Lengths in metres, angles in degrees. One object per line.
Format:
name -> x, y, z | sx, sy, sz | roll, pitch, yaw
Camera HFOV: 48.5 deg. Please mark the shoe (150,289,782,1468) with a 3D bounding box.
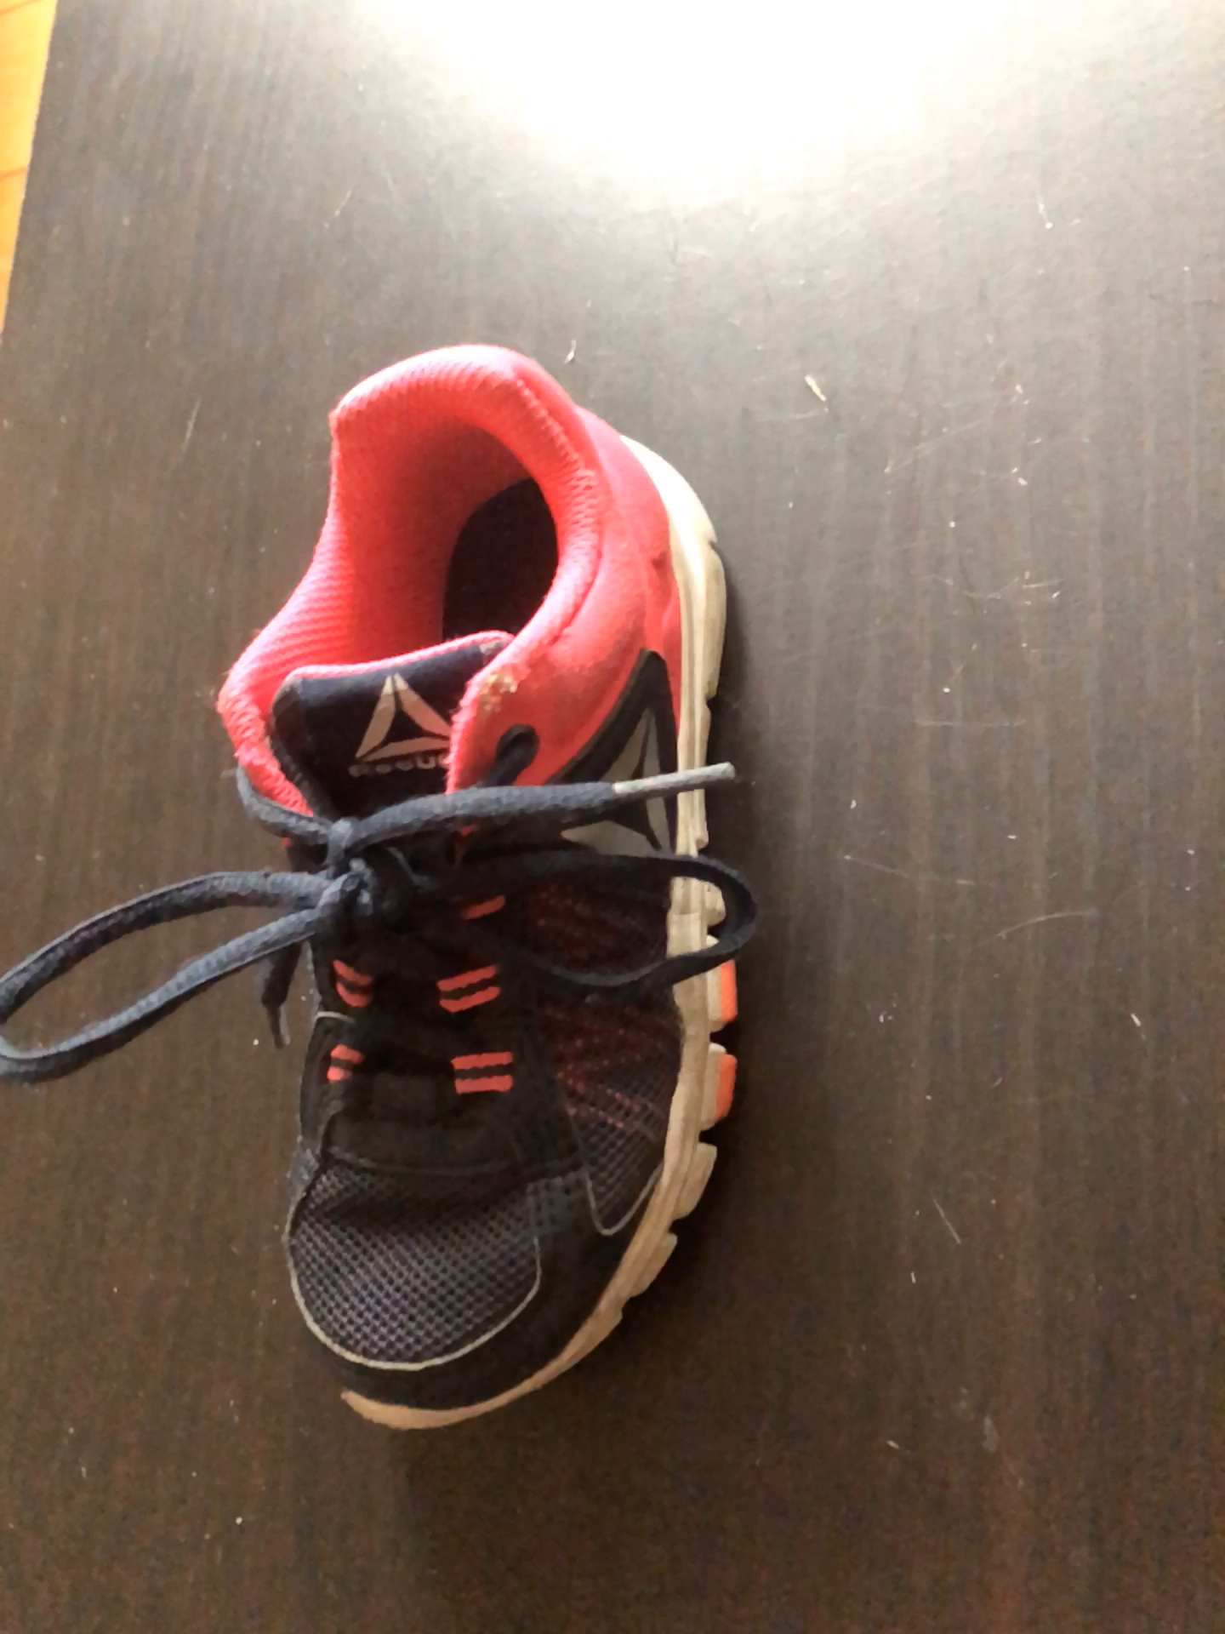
shoe -> -0.020, 0.009, 0.266 | 0.080, 0.070, 0.193 | -1, 76, 24
